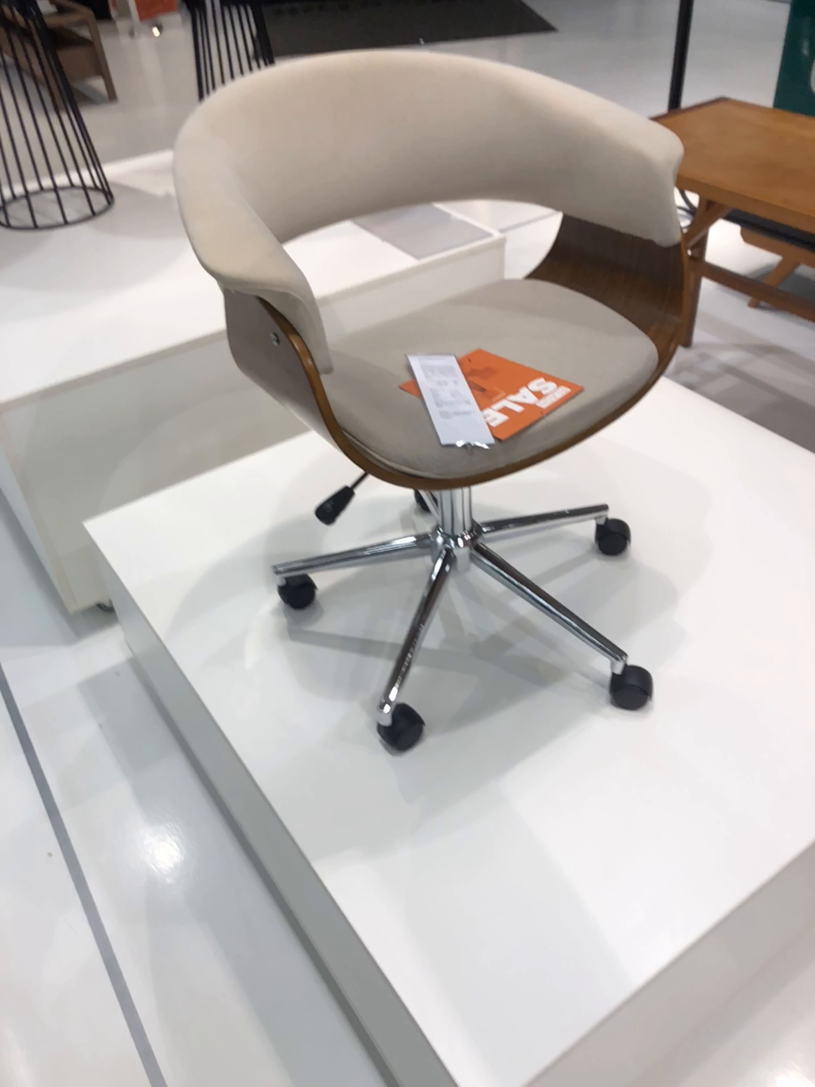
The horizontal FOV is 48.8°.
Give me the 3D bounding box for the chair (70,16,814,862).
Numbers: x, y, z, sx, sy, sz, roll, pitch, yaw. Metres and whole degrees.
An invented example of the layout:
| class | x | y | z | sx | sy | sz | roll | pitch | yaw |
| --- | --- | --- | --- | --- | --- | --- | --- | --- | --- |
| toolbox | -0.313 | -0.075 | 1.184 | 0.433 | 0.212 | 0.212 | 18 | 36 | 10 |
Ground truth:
| class | x | y | z | sx | sy | sz | roll | pitch | yaw |
| --- | --- | --- | --- | --- | --- | --- | --- | --- | --- |
| chair | 0.080 | -0.195 | 1.190 | 0.632 | 0.724 | 0.674 | -27 | 44 | -24 |
